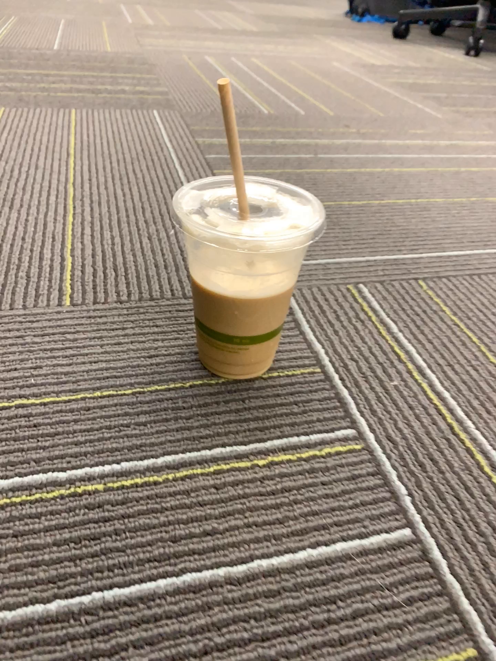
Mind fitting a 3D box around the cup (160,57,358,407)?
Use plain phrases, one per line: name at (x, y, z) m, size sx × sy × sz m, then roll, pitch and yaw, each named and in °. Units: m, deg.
cup at (0.002, -0.056, 0.326) m, size 0.090 × 0.189 × 0.091 m, roll 3°, pitch 36°, yaw -3°
